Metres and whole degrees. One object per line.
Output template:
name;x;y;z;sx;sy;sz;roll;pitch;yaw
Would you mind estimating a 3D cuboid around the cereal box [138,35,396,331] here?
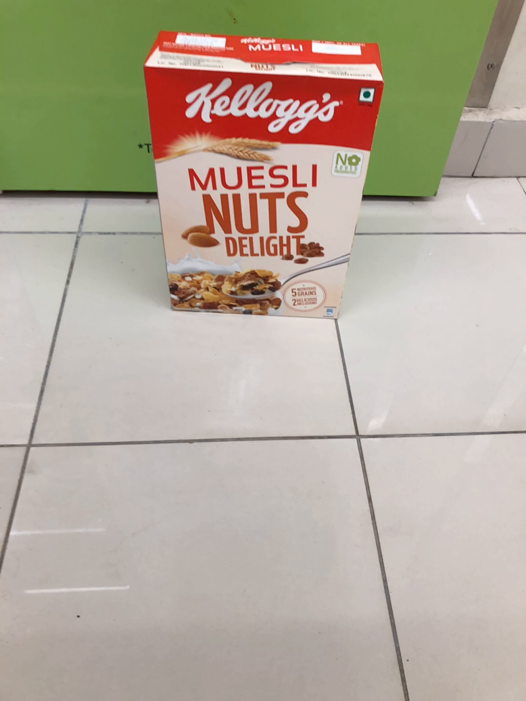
cereal box;0.000;-0.149;0.576;0.200;0.268;0.081;3;47;0
